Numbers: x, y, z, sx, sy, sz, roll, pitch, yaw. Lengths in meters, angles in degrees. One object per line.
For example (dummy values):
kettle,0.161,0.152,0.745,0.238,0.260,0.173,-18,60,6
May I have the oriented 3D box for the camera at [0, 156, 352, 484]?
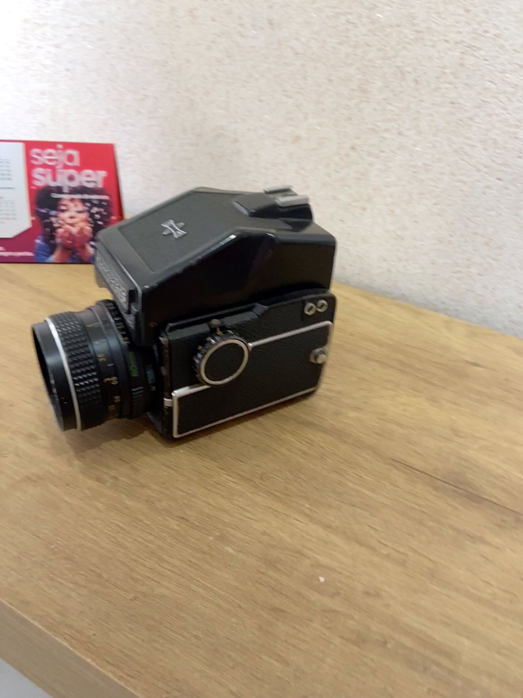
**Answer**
camera,-0.058,-0.032,0.316,0.160,0.109,0.131,-15,39,-25
